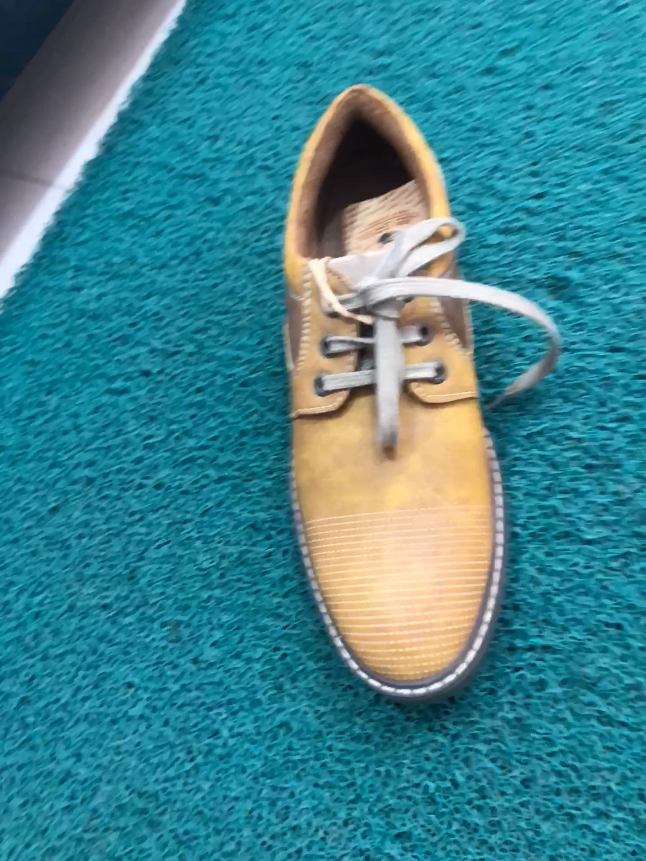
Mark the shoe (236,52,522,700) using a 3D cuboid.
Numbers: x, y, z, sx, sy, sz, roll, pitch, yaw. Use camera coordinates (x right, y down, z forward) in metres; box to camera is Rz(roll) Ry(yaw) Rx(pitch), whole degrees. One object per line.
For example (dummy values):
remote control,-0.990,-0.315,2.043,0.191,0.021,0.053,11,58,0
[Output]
shoe,0.027,-0.026,0.365,0.100,0.110,0.301,-8,66,15
